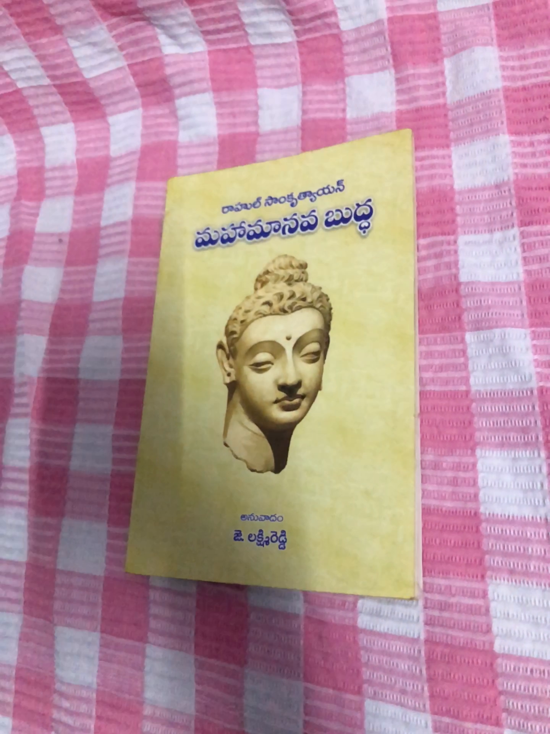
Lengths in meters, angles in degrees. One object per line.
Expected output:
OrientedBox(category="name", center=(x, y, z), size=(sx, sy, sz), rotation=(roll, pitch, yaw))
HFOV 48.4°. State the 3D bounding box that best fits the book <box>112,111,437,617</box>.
OrientedBox(category="book", center=(0.002, -0.008, 0.289), size=(0.140, 0.020, 0.220), rotation=(-3, 72, 22))
